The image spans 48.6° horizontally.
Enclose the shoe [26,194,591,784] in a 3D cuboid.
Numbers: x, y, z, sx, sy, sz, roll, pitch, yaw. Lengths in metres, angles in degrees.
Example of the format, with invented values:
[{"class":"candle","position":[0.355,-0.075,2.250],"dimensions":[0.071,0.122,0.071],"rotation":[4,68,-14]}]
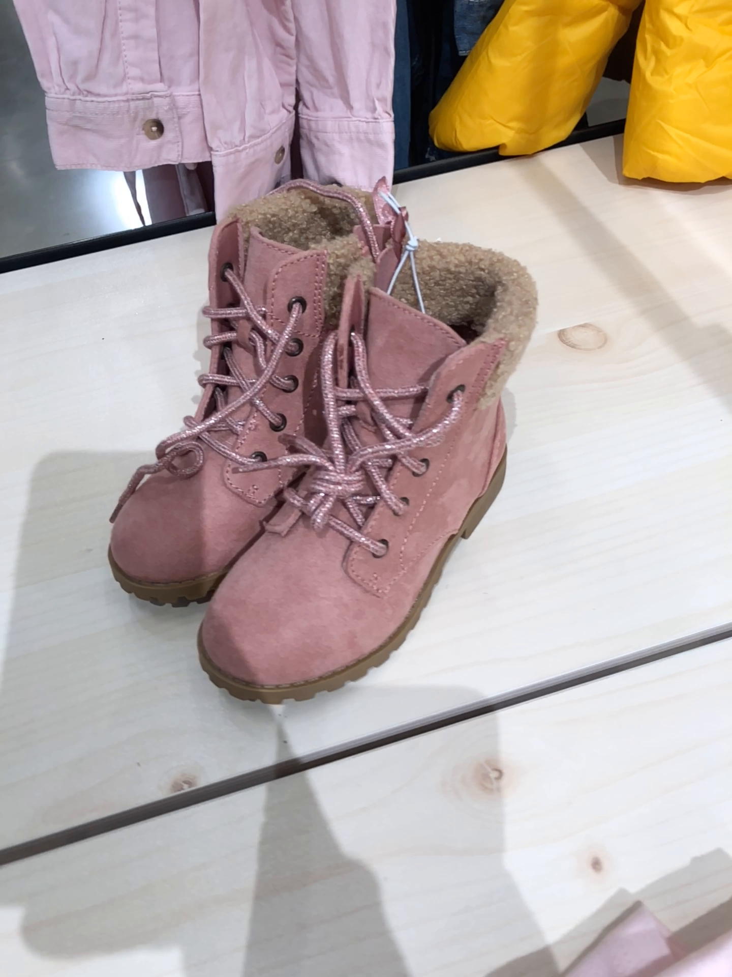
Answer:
[{"class":"shoe","position":[-0.007,-0.004,0.289],"dimensions":[0.080,0.120,0.160],"rotation":[34,59,31]}]

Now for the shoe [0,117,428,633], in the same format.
[{"class":"shoe","position":[-0.060,-0.049,0.325],"dimensions":[0.080,0.120,0.160],"rotation":[34,59,31]}]
